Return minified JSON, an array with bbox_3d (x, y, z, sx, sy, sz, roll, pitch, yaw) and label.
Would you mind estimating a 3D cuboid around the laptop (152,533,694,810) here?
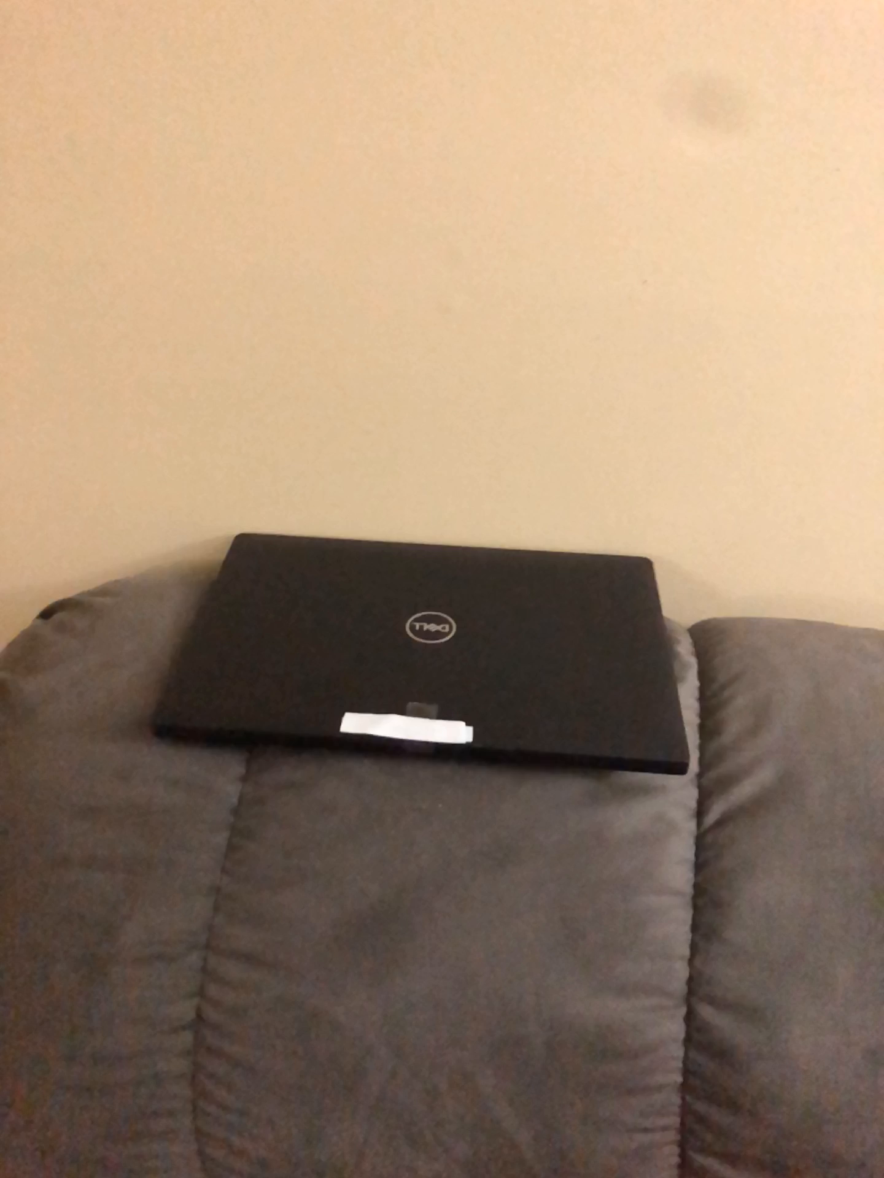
[{"bbox_3d":[-0.009,0.044,0.676,0.326,0.030,0.215,4,36,4],"label":"laptop"}]
